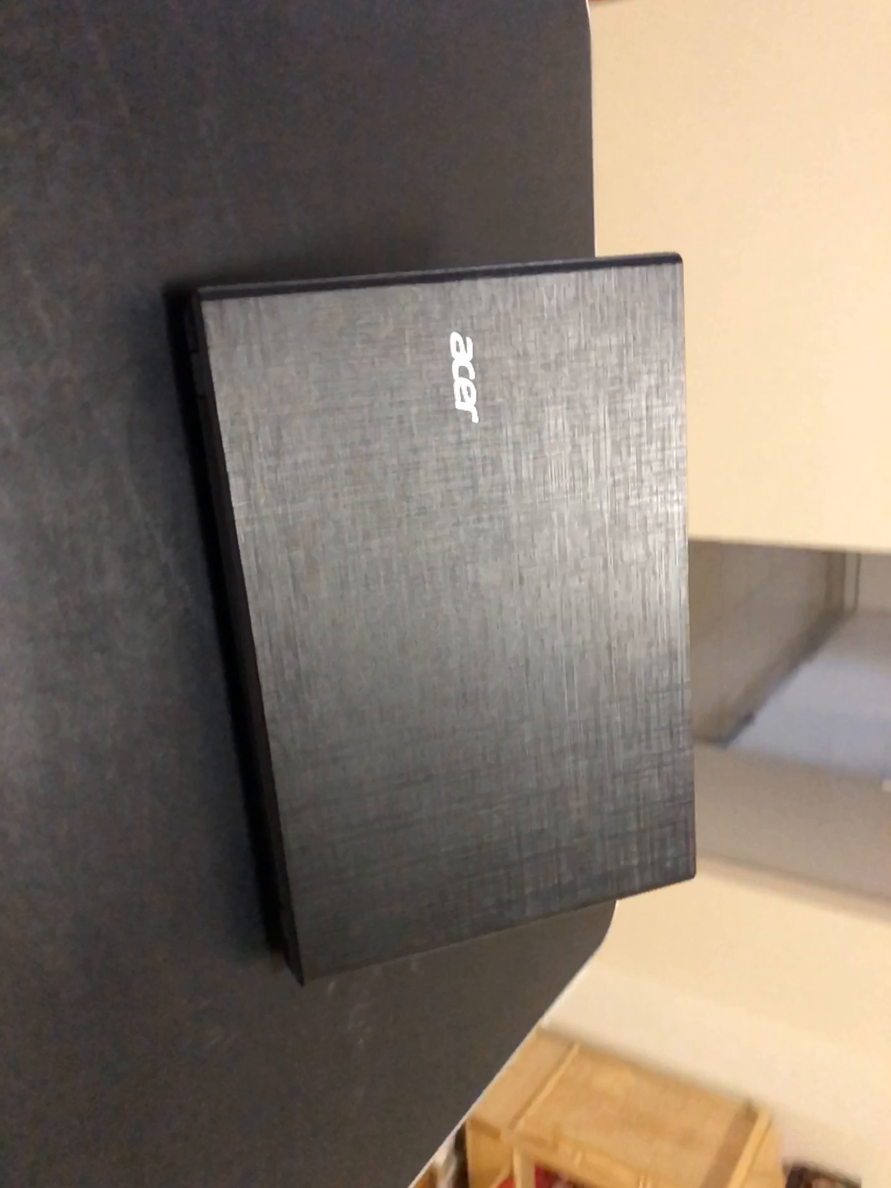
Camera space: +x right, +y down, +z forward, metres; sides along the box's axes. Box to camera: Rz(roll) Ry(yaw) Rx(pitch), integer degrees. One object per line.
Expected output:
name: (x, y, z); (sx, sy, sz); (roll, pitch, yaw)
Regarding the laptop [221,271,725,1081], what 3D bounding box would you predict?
laptop: (0.044, 0.016, 0.567); (0.252, 0.155, 0.369); (-28, 118, -52)
